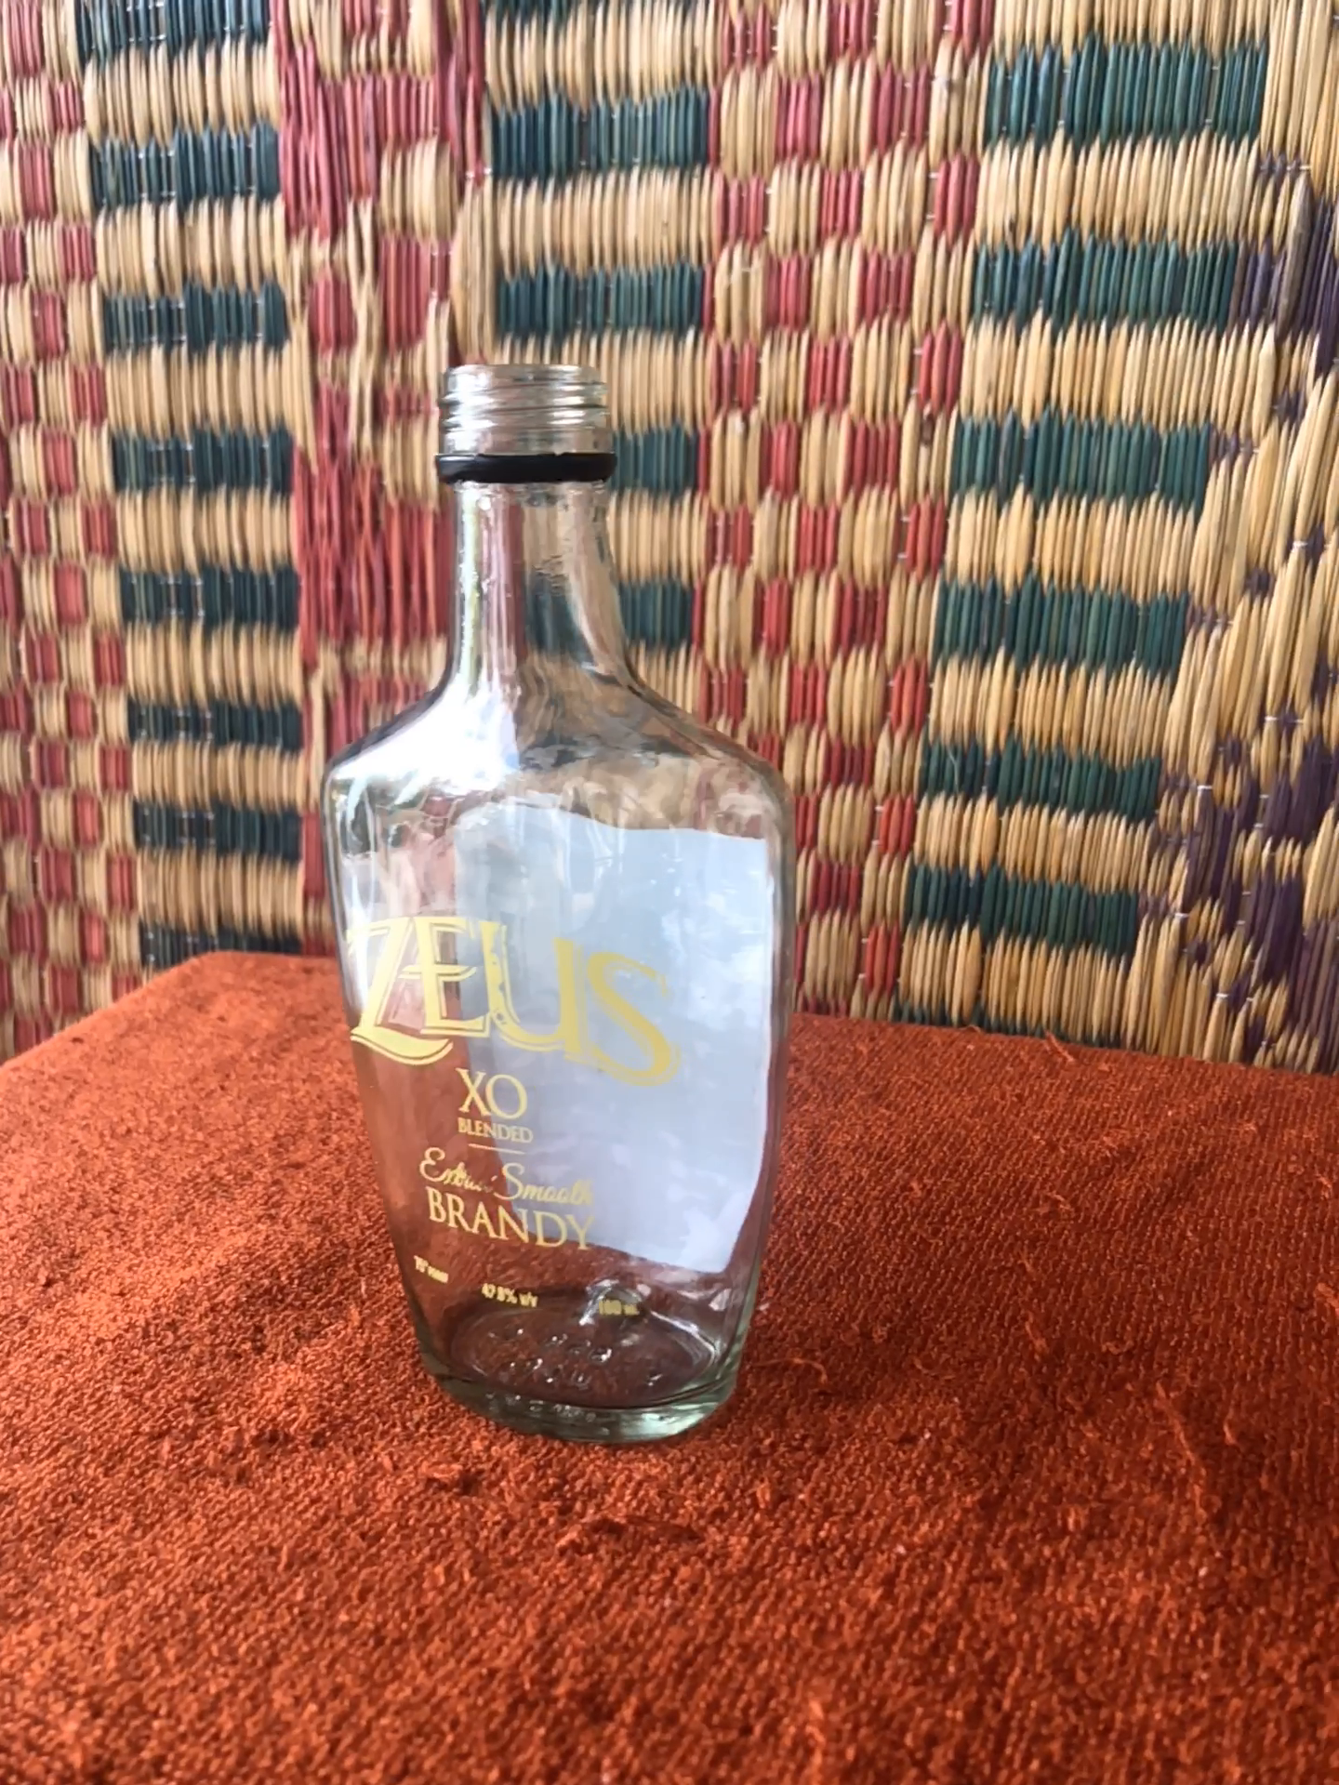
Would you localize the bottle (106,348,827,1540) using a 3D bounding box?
[{"bbox_3d":[-0.024,0.004,0.209,0.080,0.149,0.040,9,21,26],"label":"bottle"}]
